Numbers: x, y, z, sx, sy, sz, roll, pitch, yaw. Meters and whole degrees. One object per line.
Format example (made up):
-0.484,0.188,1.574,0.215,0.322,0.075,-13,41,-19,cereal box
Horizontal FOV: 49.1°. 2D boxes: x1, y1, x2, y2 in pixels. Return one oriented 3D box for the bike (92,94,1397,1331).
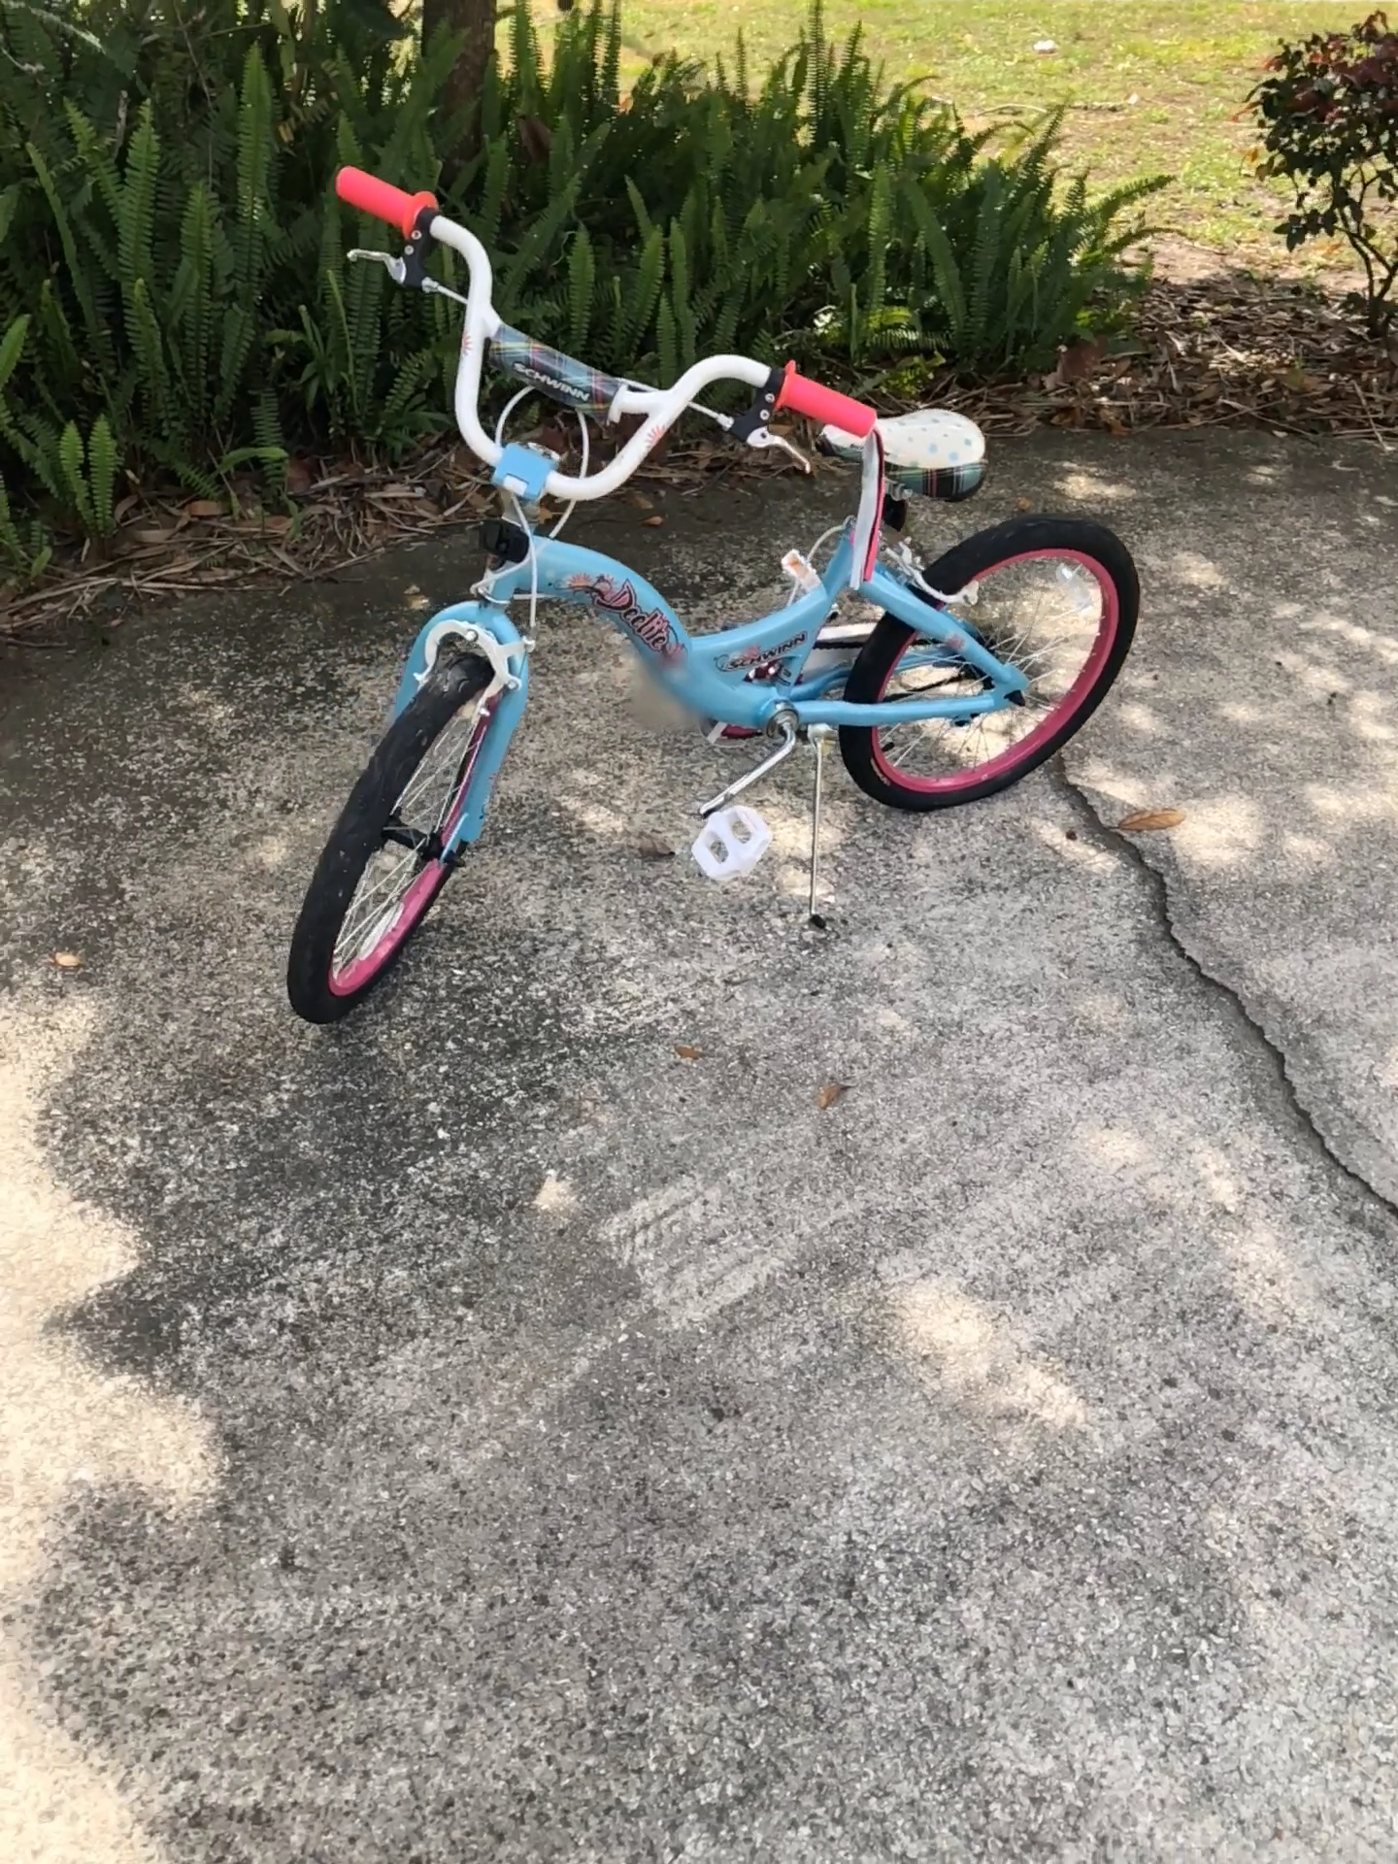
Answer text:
0.123,-0.379,1.815,1.311,0.923,0.702,-22,43,-28,bike
